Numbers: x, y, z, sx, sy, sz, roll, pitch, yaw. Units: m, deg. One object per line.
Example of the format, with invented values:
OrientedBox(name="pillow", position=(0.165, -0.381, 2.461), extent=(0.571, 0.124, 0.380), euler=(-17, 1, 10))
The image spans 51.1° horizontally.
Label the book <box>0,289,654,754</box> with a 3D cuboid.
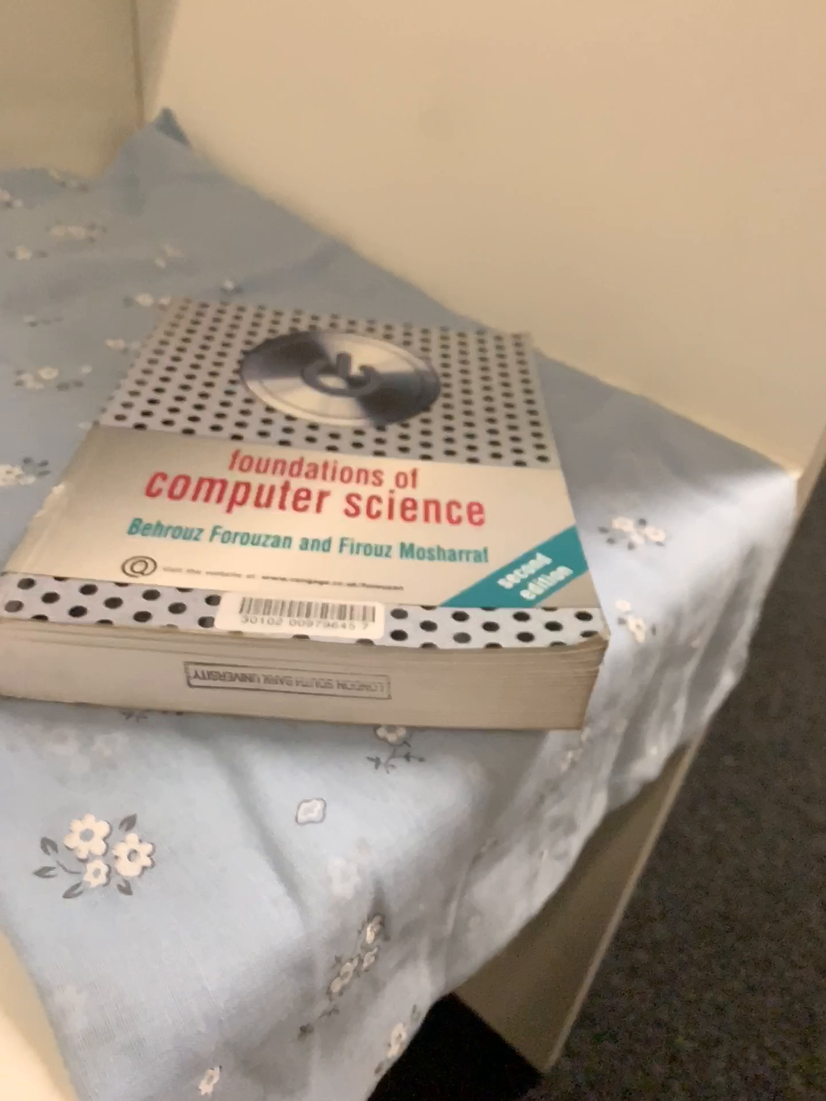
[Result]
OrientedBox(name="book", position=(-0.029, -0.034, 0.350), extent=(0.191, 0.040, 0.248), euler=(5, 36, -4))
